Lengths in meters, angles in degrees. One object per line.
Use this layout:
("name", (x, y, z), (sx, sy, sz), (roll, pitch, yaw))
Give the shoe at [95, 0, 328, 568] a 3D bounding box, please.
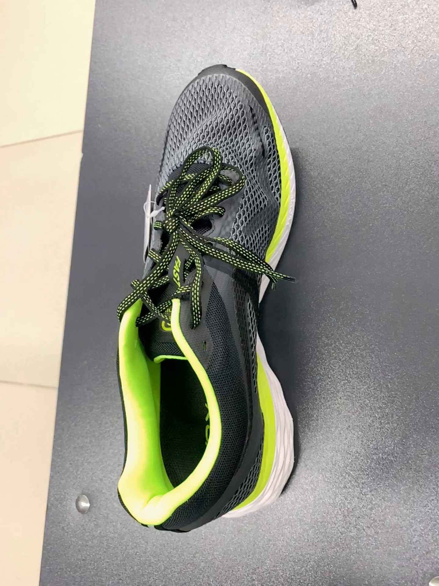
("shoe", (0.004, -0.014, 0.309), (0.110, 0.110, 0.310), (-3, 81, 25))
